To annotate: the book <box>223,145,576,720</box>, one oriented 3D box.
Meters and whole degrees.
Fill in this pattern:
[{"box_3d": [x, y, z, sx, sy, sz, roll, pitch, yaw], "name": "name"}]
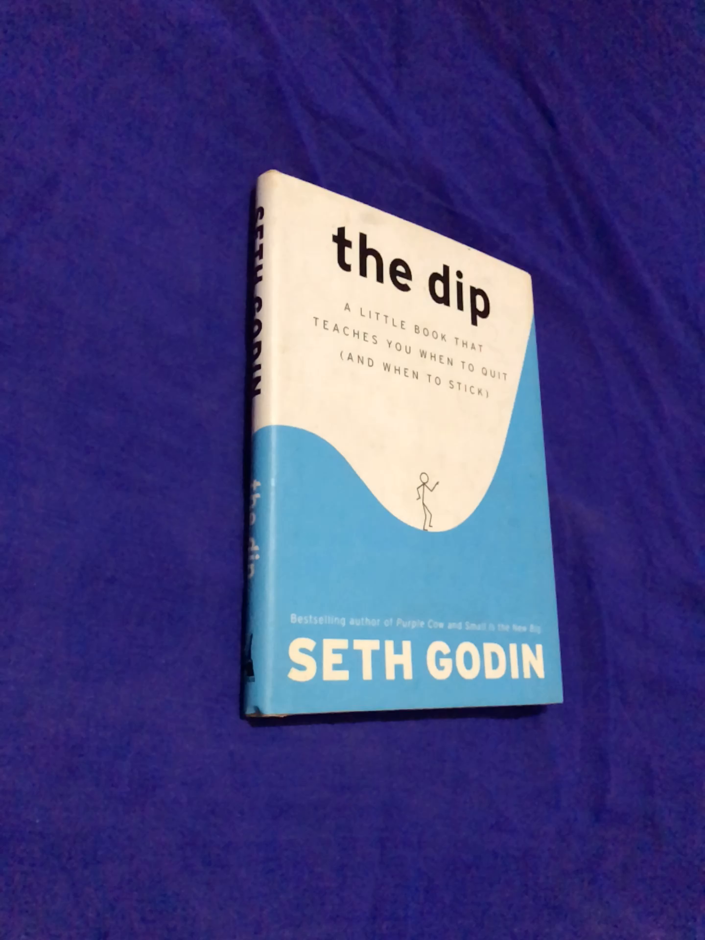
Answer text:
[{"box_3d": [0.021, -0.009, 0.295, 0.141, 0.020, 0.190, 9, 71, -35], "name": "book"}]
